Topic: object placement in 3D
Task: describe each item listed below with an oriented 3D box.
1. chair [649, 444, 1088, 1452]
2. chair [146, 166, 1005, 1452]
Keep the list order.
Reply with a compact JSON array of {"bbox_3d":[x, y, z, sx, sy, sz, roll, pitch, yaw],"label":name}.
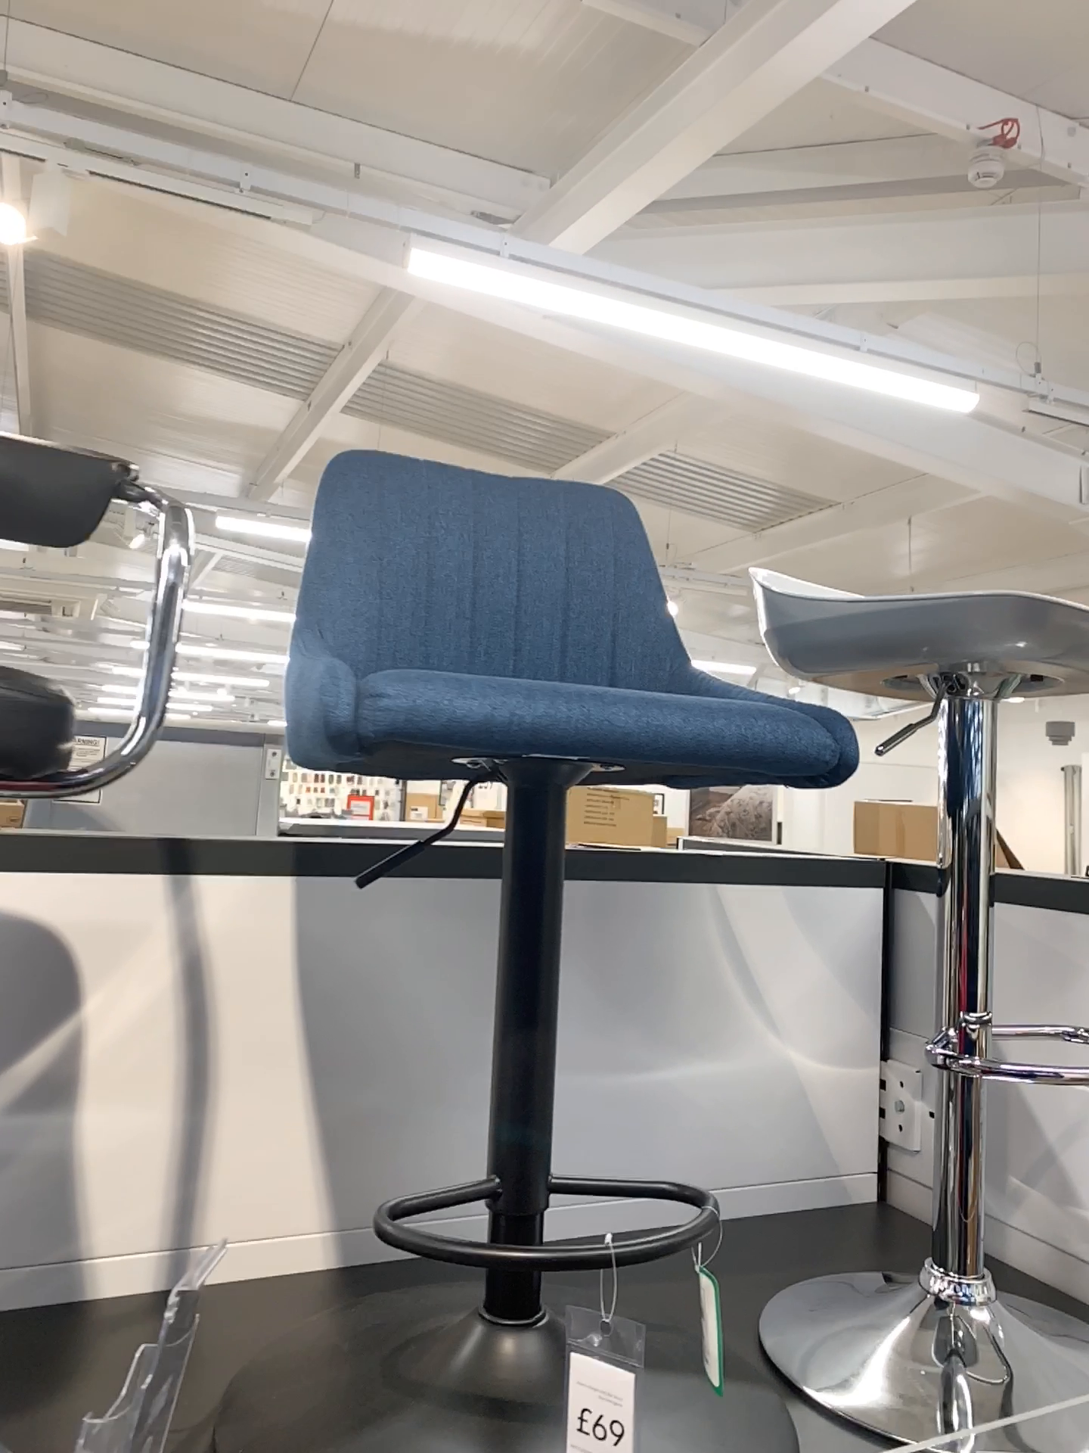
[{"bbox_3d":[0.391,0.191,1.059,0.408,0.763,0.387,5,-5,-24],"label":"chair"},{"bbox_3d":[-0.004,0.126,0.975,0.538,0.874,0.507,5,-5,-24],"label":"chair"}]
